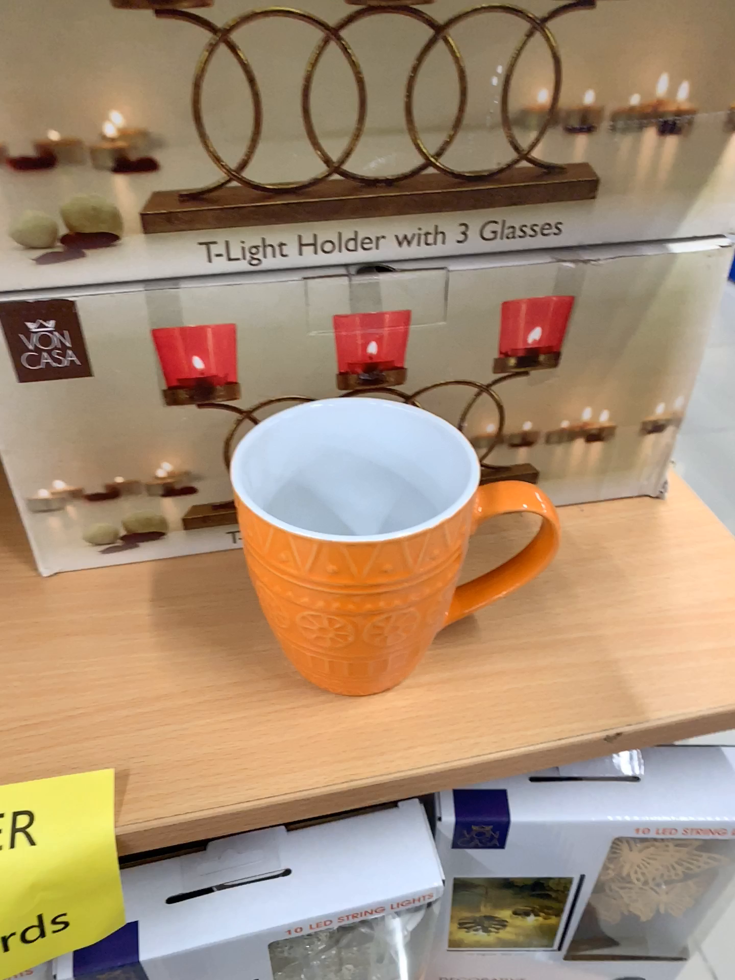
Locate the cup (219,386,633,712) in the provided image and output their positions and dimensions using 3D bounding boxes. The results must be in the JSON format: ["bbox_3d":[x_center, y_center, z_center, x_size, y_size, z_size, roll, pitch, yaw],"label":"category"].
[{"bbox_3d":[0.014,0.018,0.274,0.120,0.080,0.080,-2,36,-5],"label":"cup"}]
